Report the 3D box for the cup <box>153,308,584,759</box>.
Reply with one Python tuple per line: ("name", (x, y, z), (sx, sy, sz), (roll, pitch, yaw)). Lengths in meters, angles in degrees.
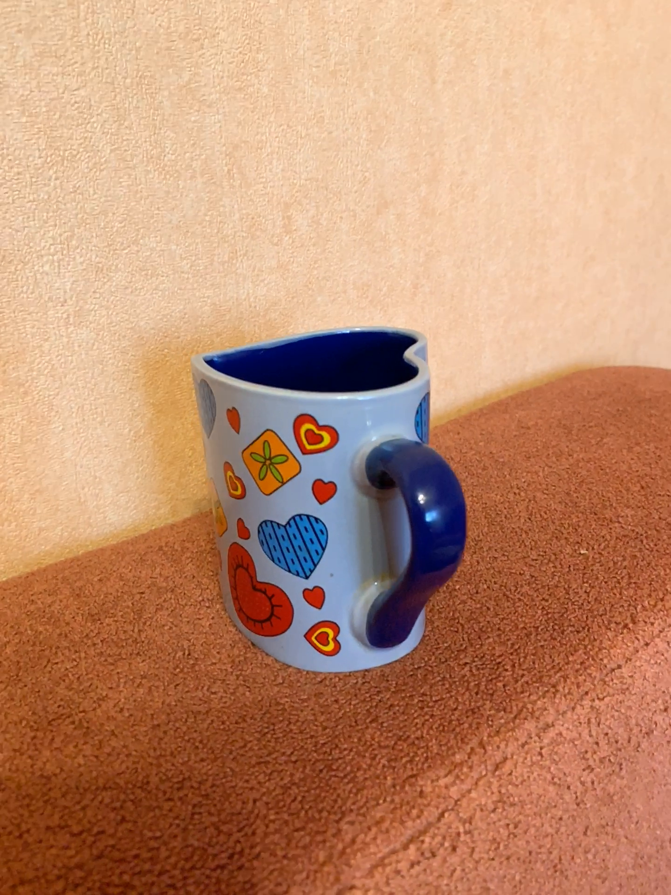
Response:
("cup", (0.006, 0.014, 0.224), (0.088, 0.090, 0.098), (-16, 27, -29))
